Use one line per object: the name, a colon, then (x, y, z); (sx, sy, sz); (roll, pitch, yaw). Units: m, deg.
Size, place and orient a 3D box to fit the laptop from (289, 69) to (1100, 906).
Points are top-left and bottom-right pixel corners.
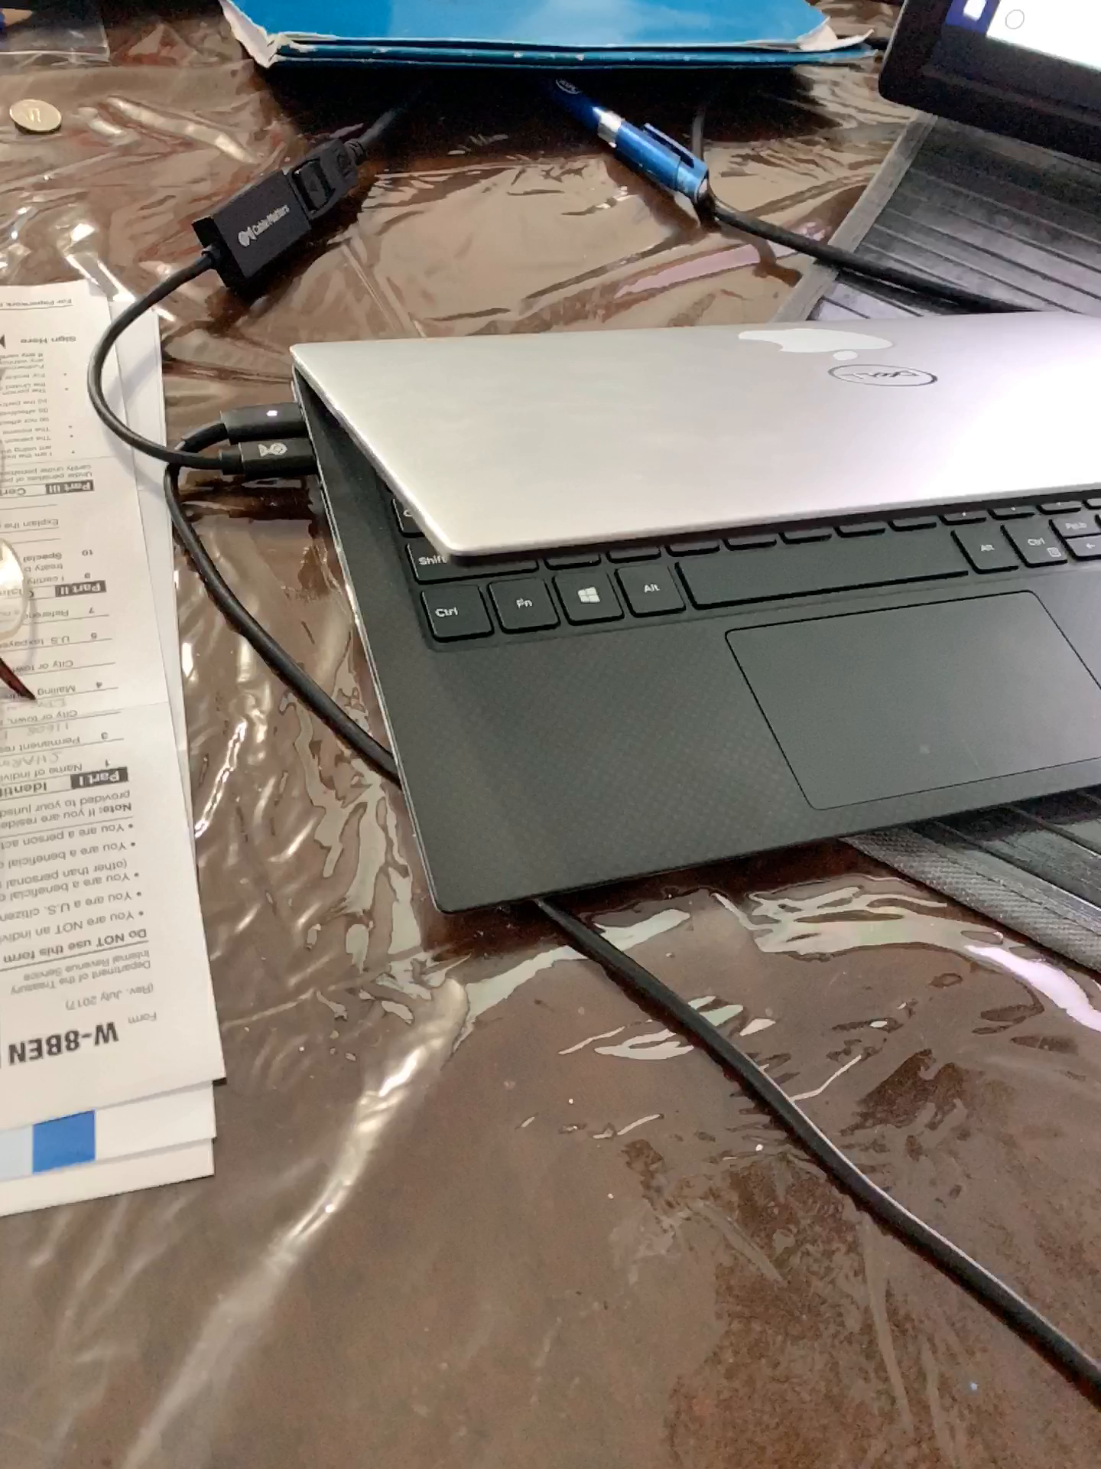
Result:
laptop: (0.094, -0.081, 0.300); (0.290, 0.085, 0.185); (-8, 55, -17)
